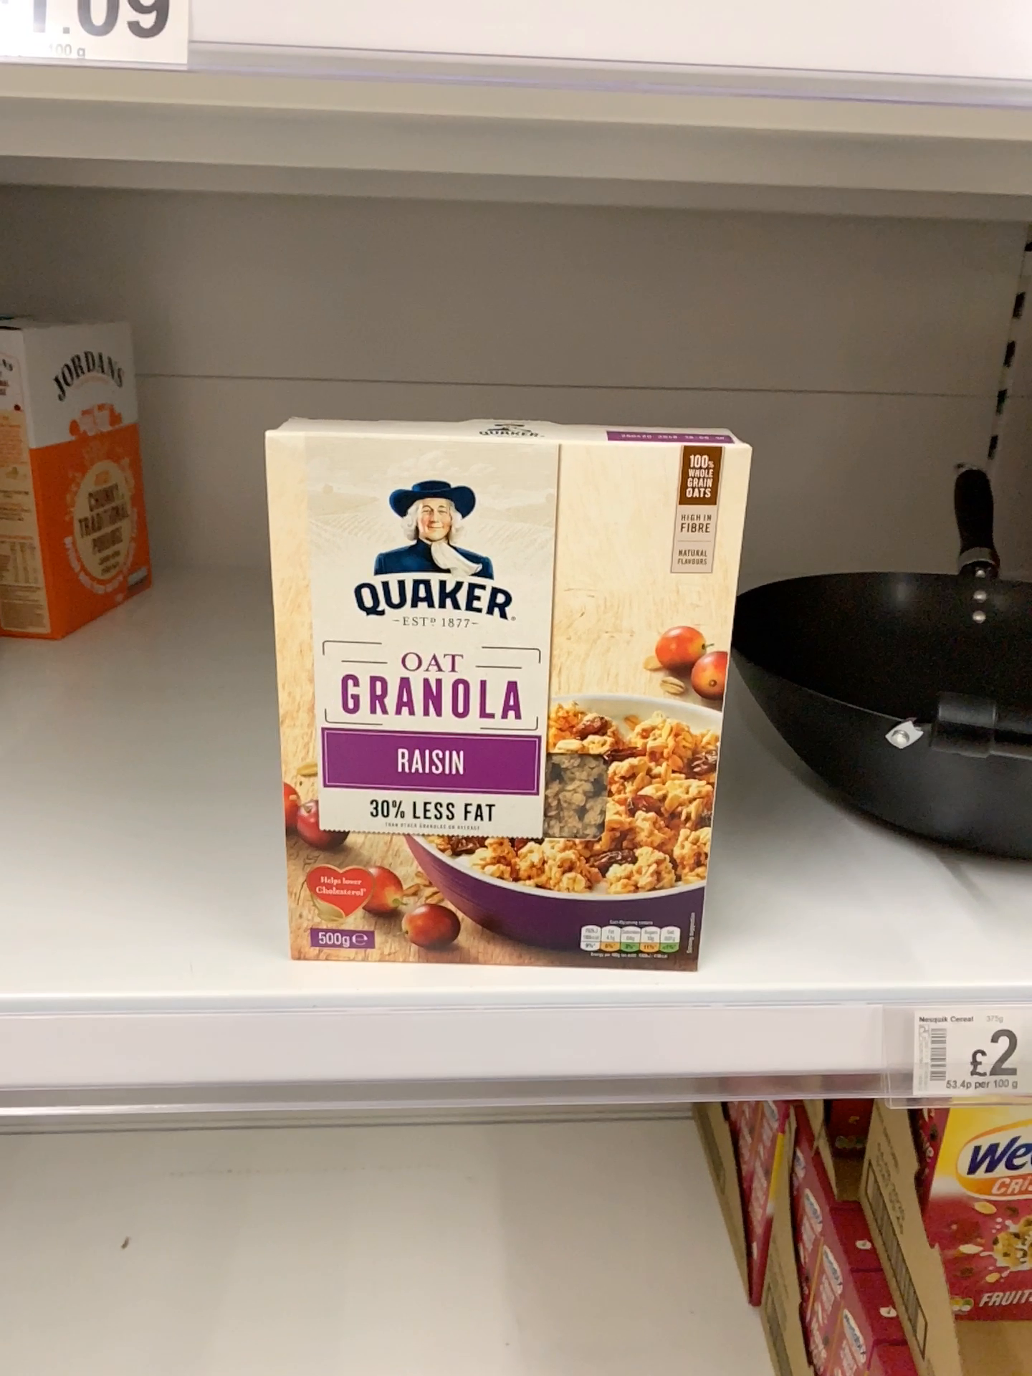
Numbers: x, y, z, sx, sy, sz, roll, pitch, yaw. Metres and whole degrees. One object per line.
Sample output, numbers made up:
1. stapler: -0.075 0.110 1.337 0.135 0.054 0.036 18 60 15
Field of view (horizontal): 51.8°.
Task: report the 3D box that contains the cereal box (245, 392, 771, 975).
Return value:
1. cereal box: -0.007 0.002 0.475 0.200 0.248 0.060 2 20 -1
